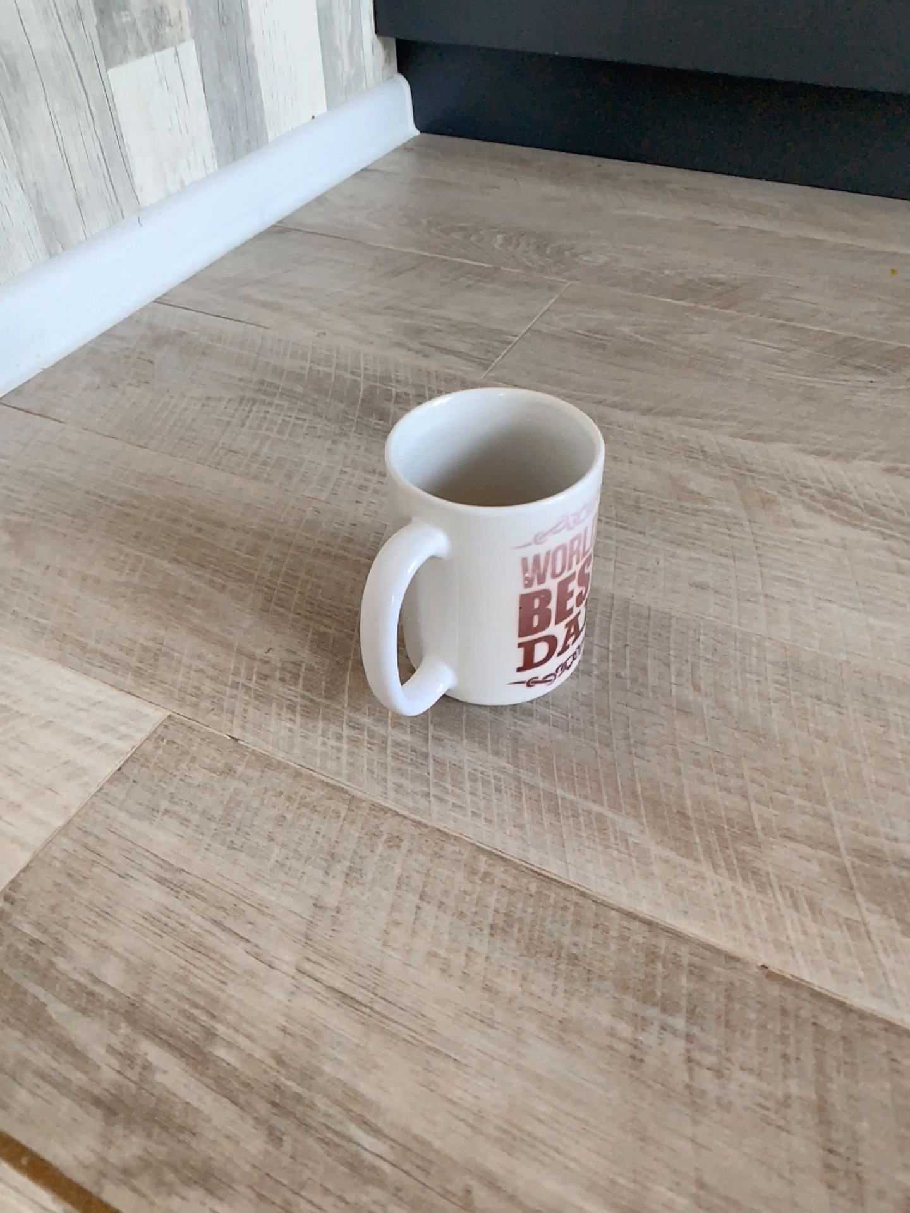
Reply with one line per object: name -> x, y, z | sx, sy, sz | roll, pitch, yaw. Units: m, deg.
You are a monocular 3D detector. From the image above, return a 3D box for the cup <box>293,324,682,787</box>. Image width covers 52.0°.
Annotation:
cup -> 0.017, -0.025, 0.368 | 0.080, 0.110, 0.130 | 24, 49, 25
